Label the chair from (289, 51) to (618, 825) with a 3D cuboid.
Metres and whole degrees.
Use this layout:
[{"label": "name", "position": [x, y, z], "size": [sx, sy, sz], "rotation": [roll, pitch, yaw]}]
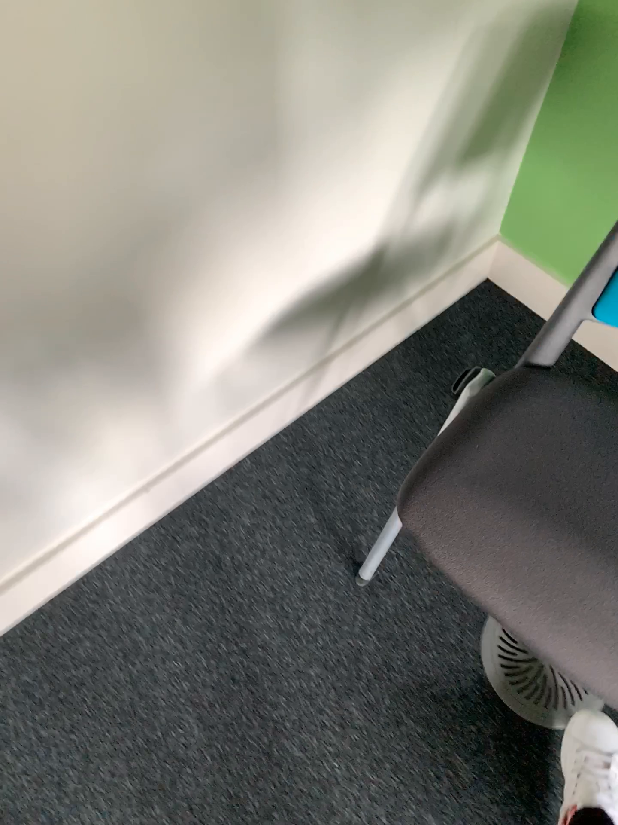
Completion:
[{"label": "chair", "position": [0.376, 0.121, 0.751], "size": [0.552, 0.665, 0.583], "rotation": [-36, 65, -21]}]
